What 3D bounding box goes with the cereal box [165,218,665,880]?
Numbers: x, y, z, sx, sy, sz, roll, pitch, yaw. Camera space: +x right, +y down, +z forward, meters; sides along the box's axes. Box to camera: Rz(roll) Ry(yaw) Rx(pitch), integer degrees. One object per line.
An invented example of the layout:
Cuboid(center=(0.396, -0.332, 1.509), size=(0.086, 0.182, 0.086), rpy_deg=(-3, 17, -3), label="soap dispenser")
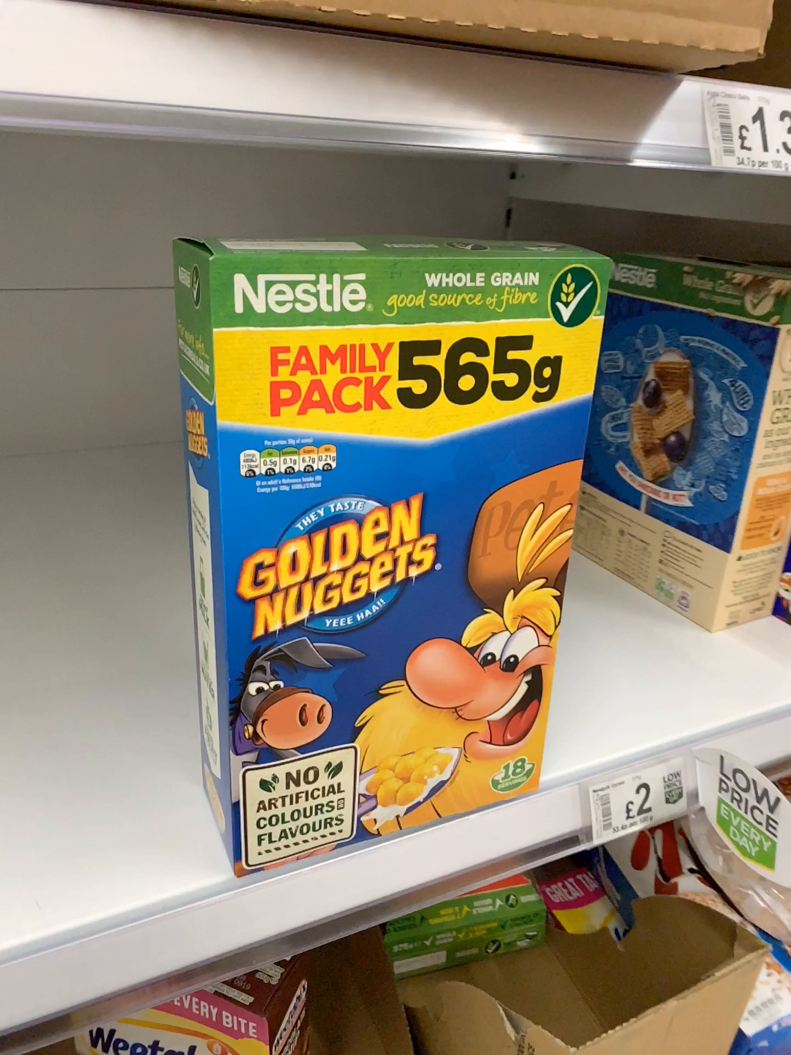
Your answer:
Cuboid(center=(0.002, 0.007, 0.430), size=(0.210, 0.307, 0.091), rpy_deg=(-7, 25, -23), label="cereal box")
